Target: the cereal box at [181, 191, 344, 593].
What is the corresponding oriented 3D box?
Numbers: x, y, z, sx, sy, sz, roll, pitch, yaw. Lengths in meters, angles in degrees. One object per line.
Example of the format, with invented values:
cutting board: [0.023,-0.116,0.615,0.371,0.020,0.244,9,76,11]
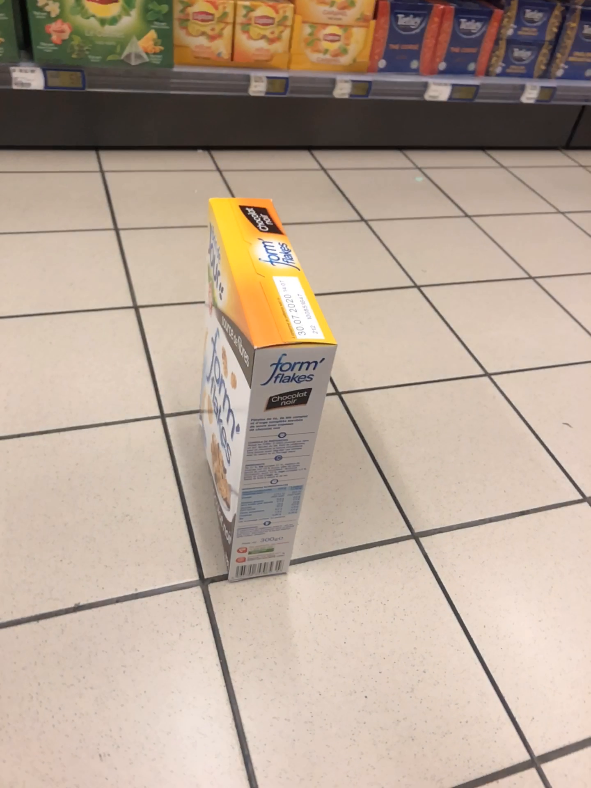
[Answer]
cereal box: [-0.045,-0.001,0.527,0.070,0.248,0.201,-3,42,-15]
